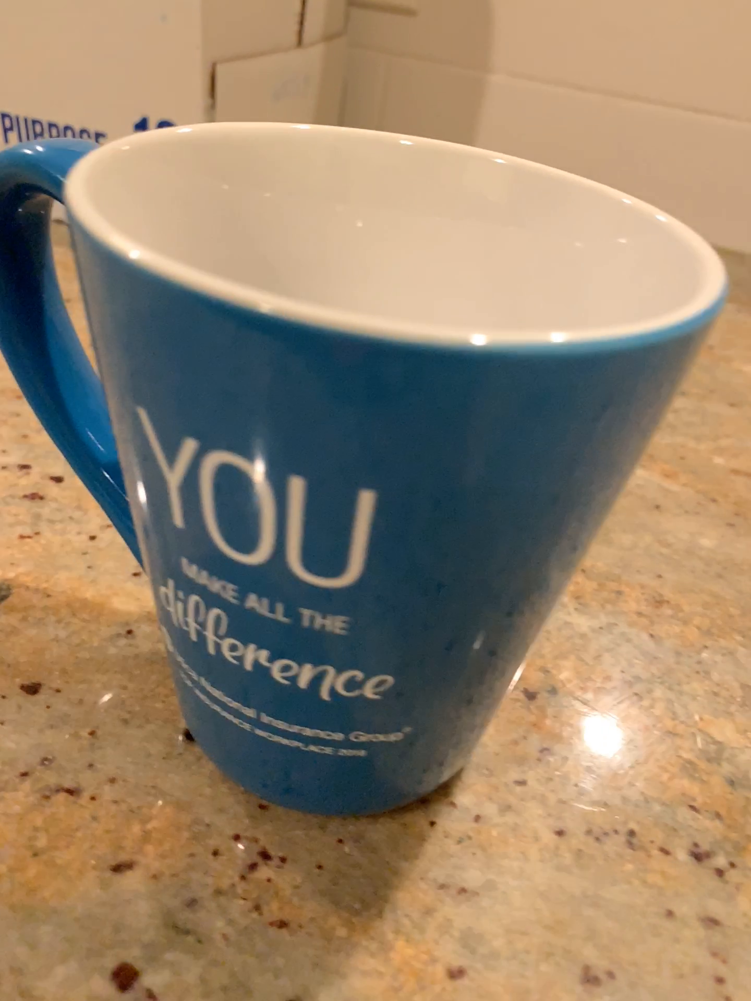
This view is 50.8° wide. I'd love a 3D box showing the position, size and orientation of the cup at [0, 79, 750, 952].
[{"bbox_3d":[-0.019,-0.011,0.150,0.137,0.098,0.099,14,35,11],"label":"cup"}]
